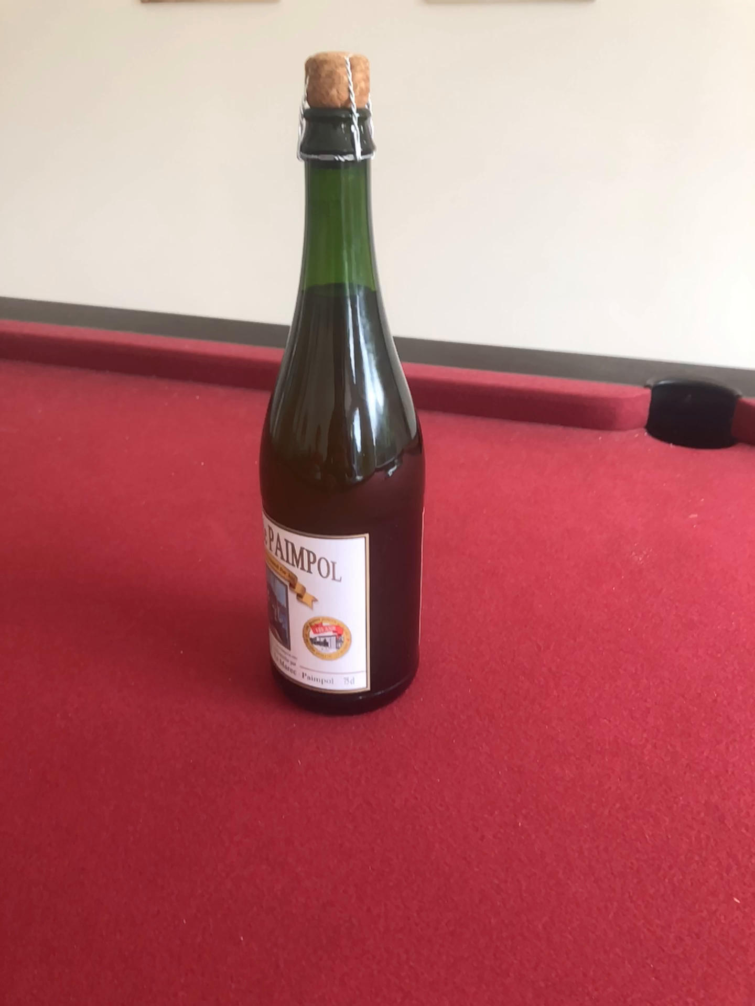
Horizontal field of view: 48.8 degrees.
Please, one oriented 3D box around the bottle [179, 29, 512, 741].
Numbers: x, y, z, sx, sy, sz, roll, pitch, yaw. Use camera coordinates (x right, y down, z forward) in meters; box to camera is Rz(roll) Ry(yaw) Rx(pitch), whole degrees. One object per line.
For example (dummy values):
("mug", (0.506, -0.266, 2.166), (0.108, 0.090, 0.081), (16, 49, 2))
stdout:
("bottle", (-0.016, -0.048, 0.393), (0.100, 0.298, 0.090), (-14, 30, -28))
